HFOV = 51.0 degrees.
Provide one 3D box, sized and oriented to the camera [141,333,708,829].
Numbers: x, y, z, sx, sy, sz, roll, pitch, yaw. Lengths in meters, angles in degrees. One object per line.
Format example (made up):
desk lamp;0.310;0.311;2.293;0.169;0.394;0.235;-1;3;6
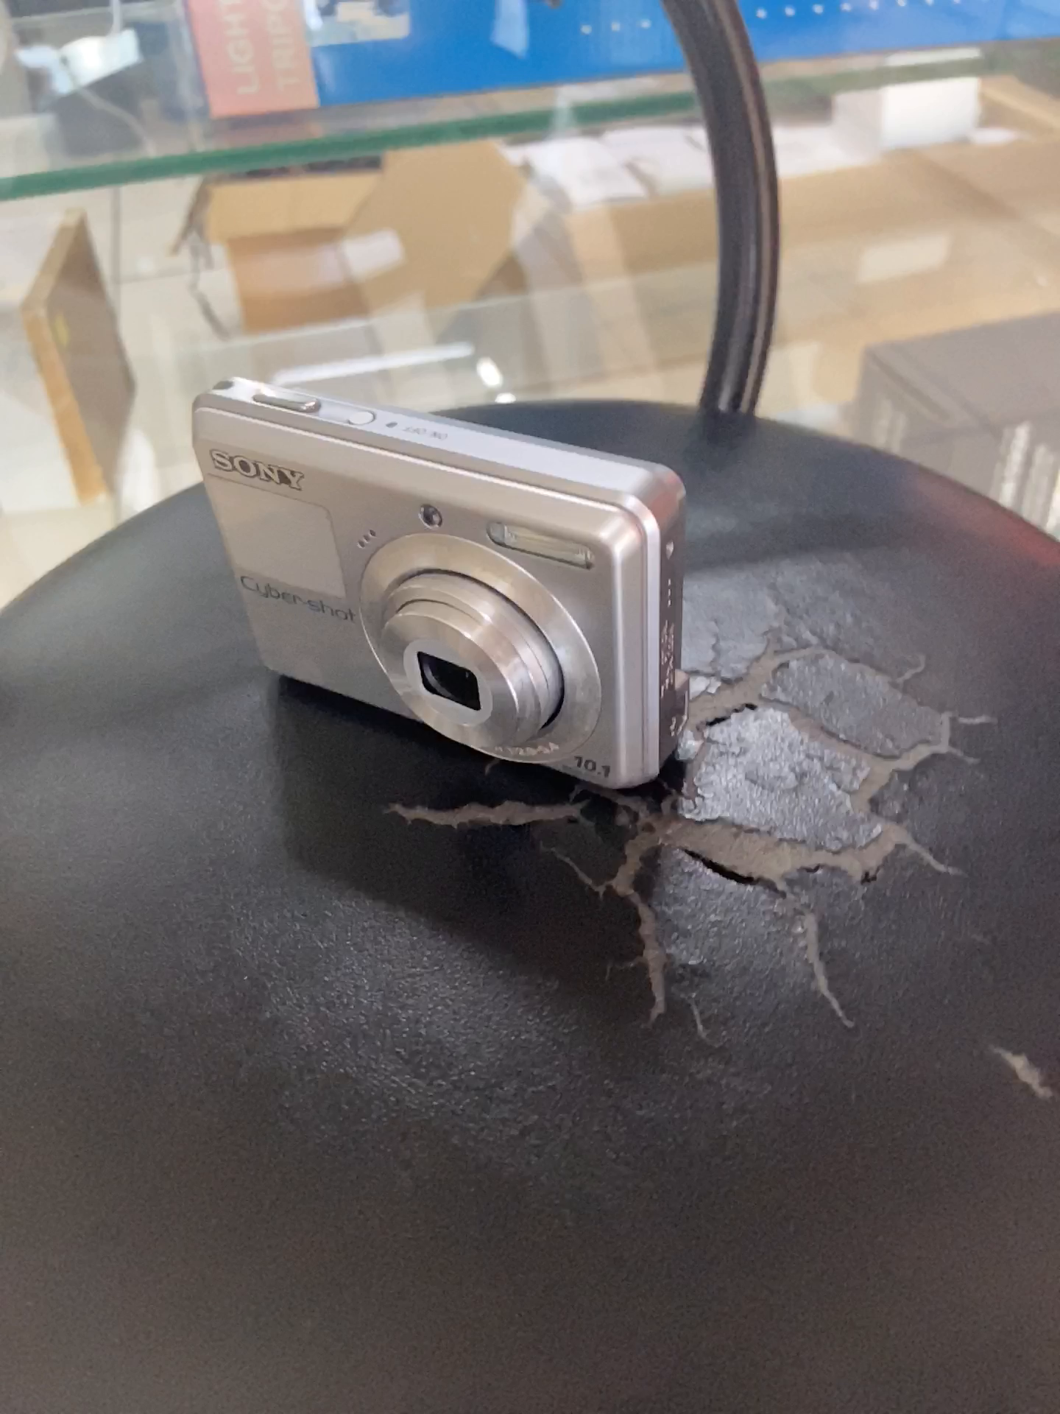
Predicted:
camera;-0.016;-0.024;0.192;0.083;0.057;0.035;18;46;23
